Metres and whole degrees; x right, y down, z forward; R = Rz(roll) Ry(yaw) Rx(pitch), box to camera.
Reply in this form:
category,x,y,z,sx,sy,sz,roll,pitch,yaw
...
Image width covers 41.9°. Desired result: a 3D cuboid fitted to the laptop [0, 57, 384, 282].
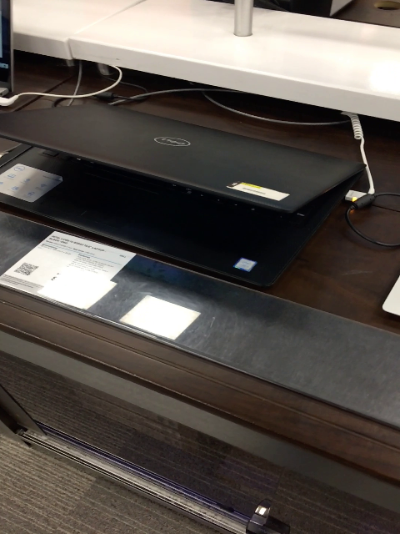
category,x,y,z,sx,sy,sz,roll,pitch,yaw
laptop,-0.041,-0.138,0.638,0.407,0.082,0.218,21,56,23
